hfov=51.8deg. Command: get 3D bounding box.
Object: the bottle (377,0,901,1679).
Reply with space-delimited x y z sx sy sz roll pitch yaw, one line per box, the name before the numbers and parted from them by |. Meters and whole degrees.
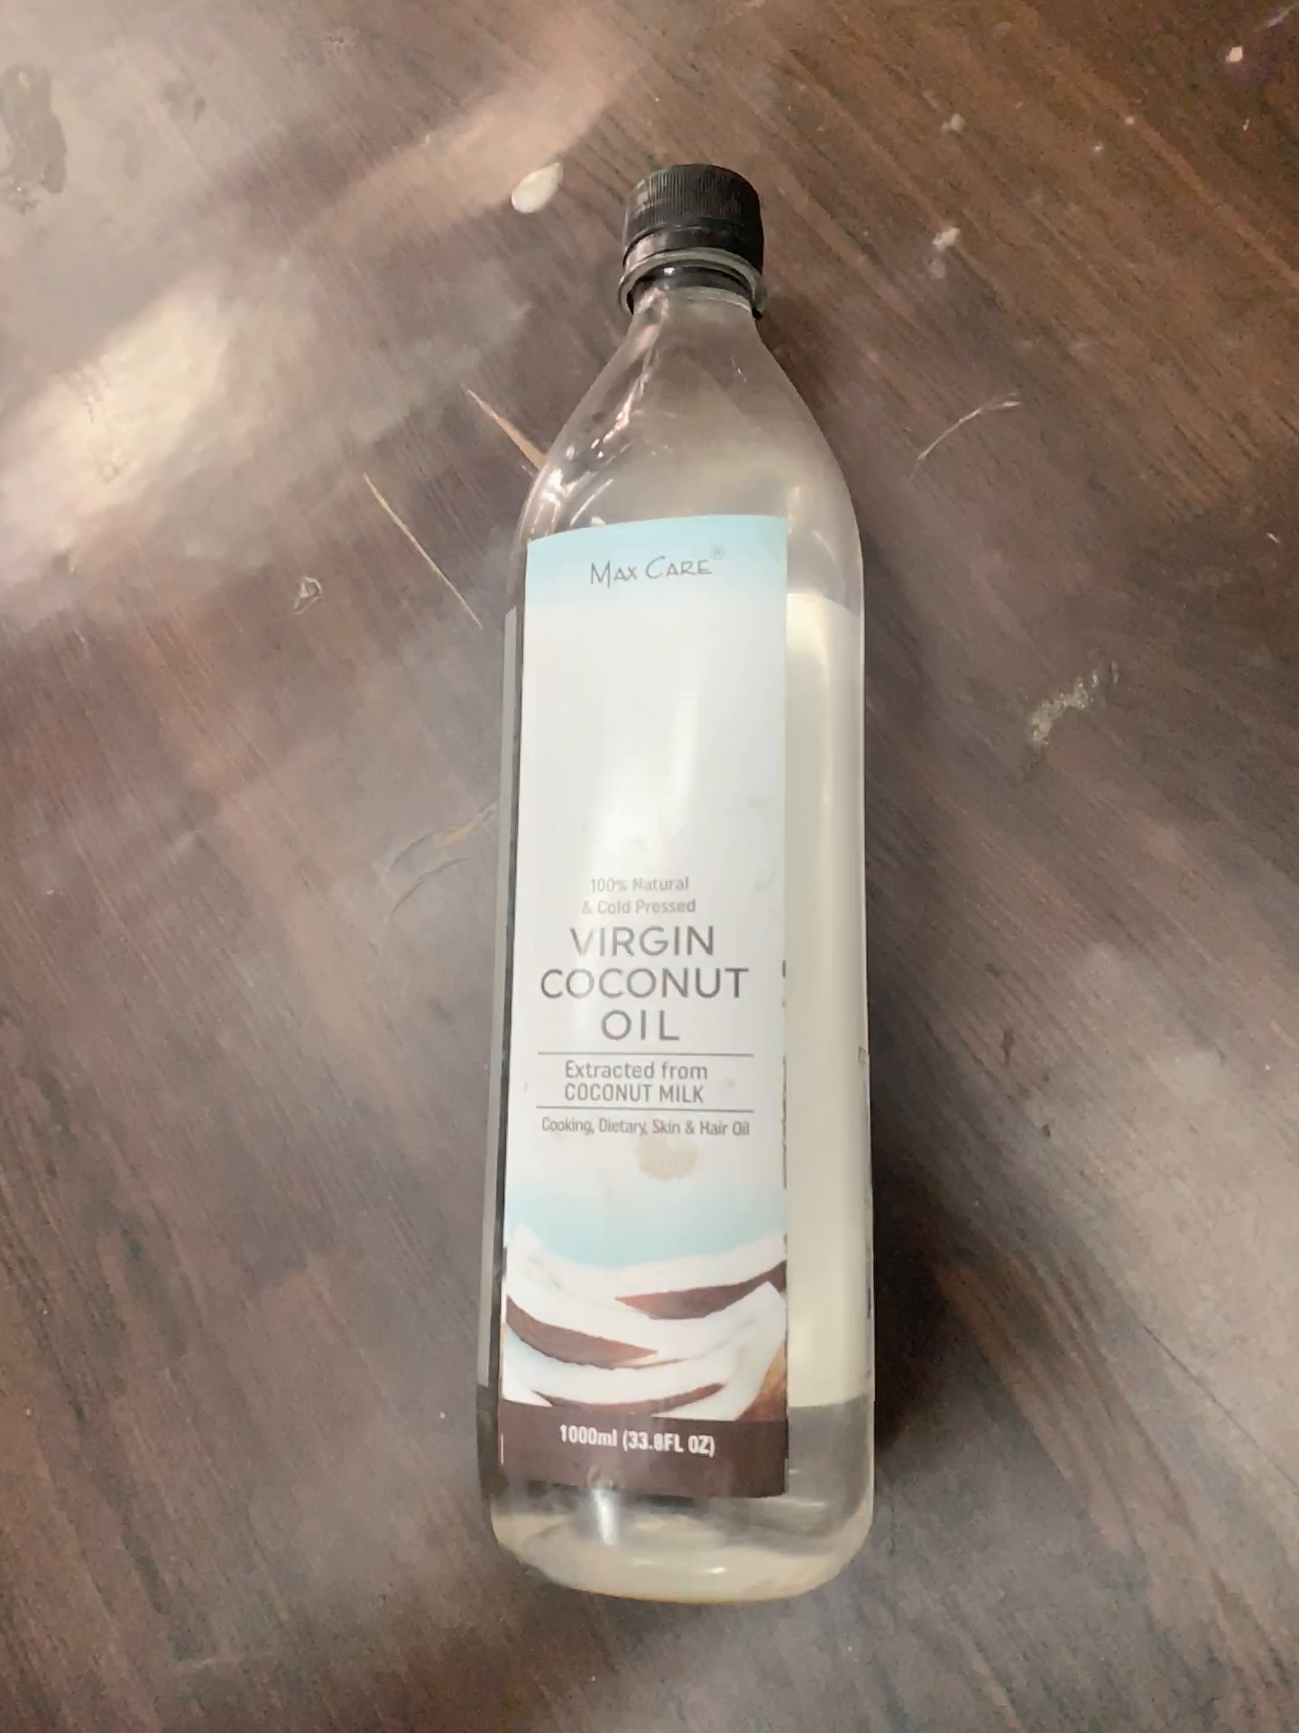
bottle | 0.004 -0.016 0.264 0.080 0.070 0.290 -2 81 14
